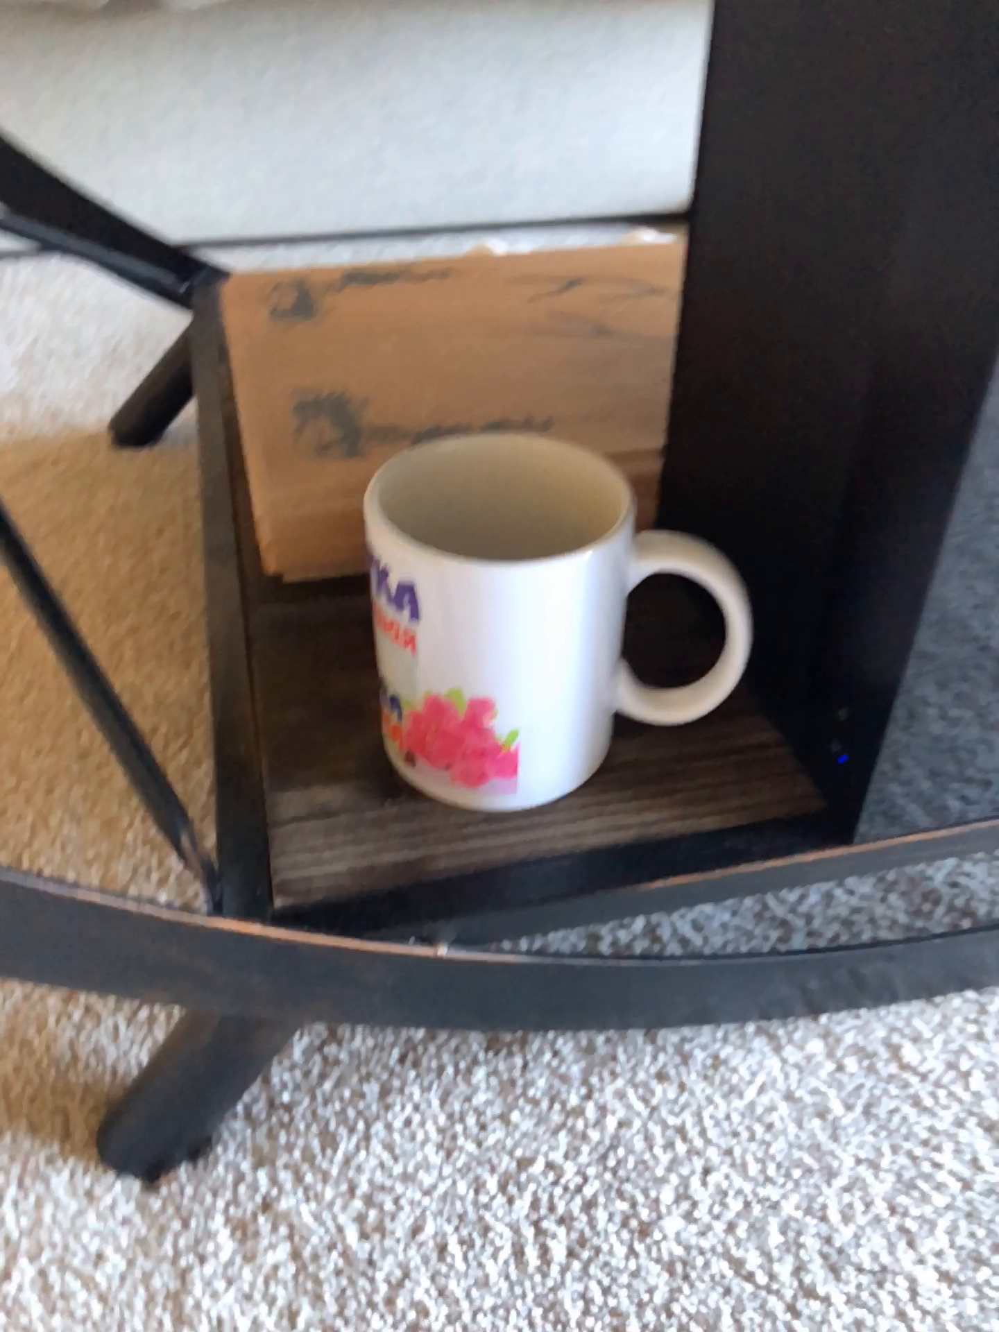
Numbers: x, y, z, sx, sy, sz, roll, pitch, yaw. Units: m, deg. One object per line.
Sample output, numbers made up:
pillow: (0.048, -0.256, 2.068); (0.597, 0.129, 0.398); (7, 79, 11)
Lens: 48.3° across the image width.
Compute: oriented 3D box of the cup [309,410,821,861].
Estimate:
cup: (0.023, -0.013, 0.368); (0.140, 0.100, 0.090); (7, 39, 8)
